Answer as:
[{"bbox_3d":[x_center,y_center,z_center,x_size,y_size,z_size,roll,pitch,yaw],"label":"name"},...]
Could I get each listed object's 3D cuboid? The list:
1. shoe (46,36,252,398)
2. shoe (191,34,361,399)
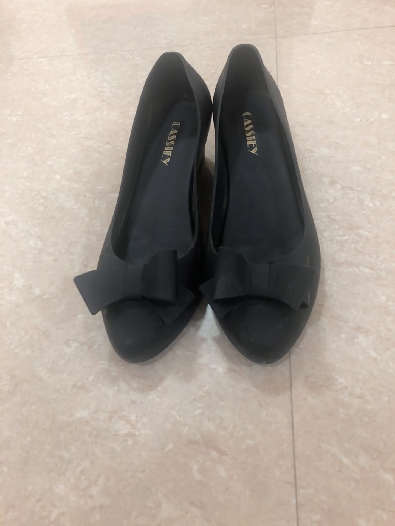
[{"bbox_3d":[-0.014,-0.060,0.367,0.090,0.090,0.311,2,55,12],"label":"shoe"},{"bbox_3d":[0.056,-0.058,0.360,0.090,0.090,0.311,-2,55,9],"label":"shoe"}]
